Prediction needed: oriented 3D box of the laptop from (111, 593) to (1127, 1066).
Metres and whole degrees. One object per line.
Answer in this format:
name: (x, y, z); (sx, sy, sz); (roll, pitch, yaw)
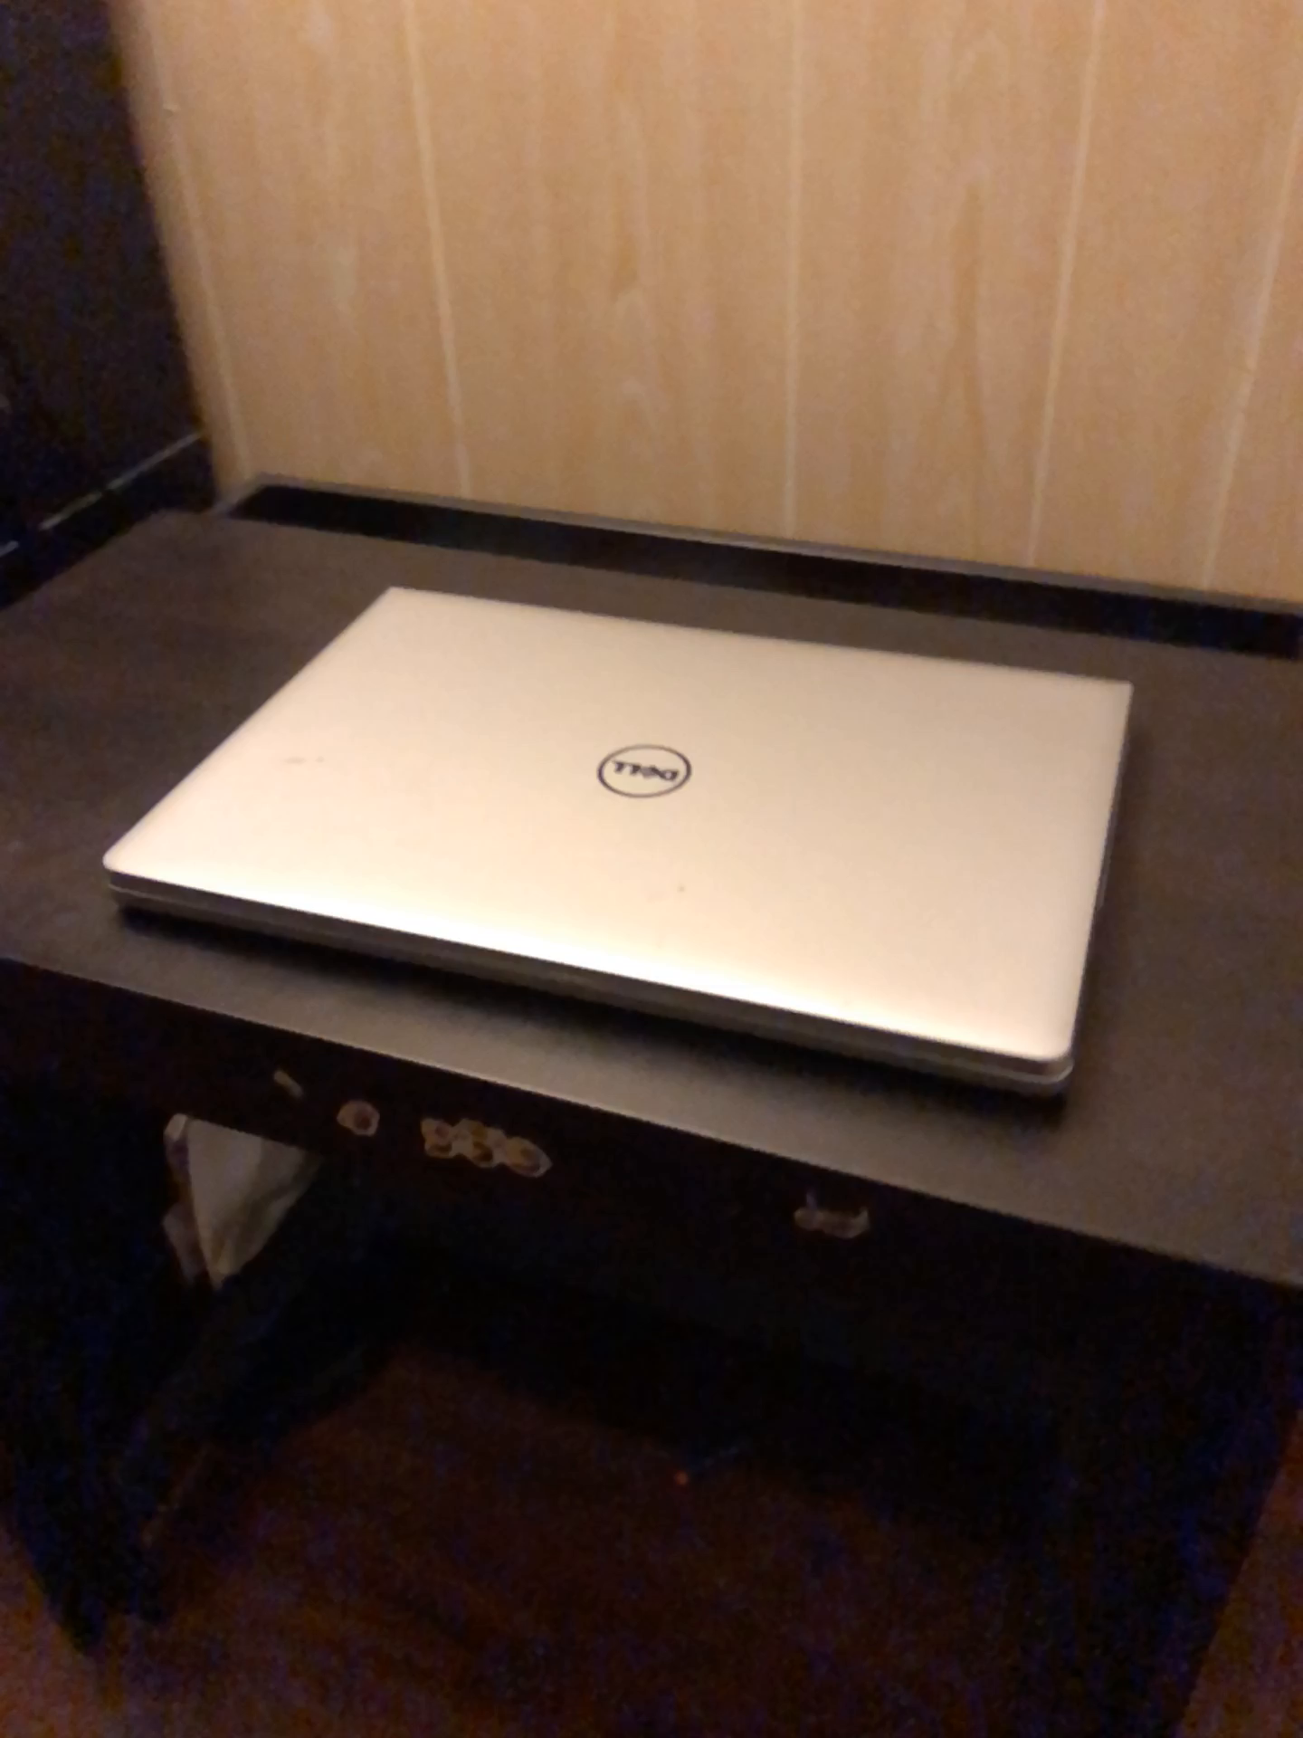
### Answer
laptop: (-0.001, -0.041, 0.612); (0.370, 0.003, 0.250); (10, 39, 18)
